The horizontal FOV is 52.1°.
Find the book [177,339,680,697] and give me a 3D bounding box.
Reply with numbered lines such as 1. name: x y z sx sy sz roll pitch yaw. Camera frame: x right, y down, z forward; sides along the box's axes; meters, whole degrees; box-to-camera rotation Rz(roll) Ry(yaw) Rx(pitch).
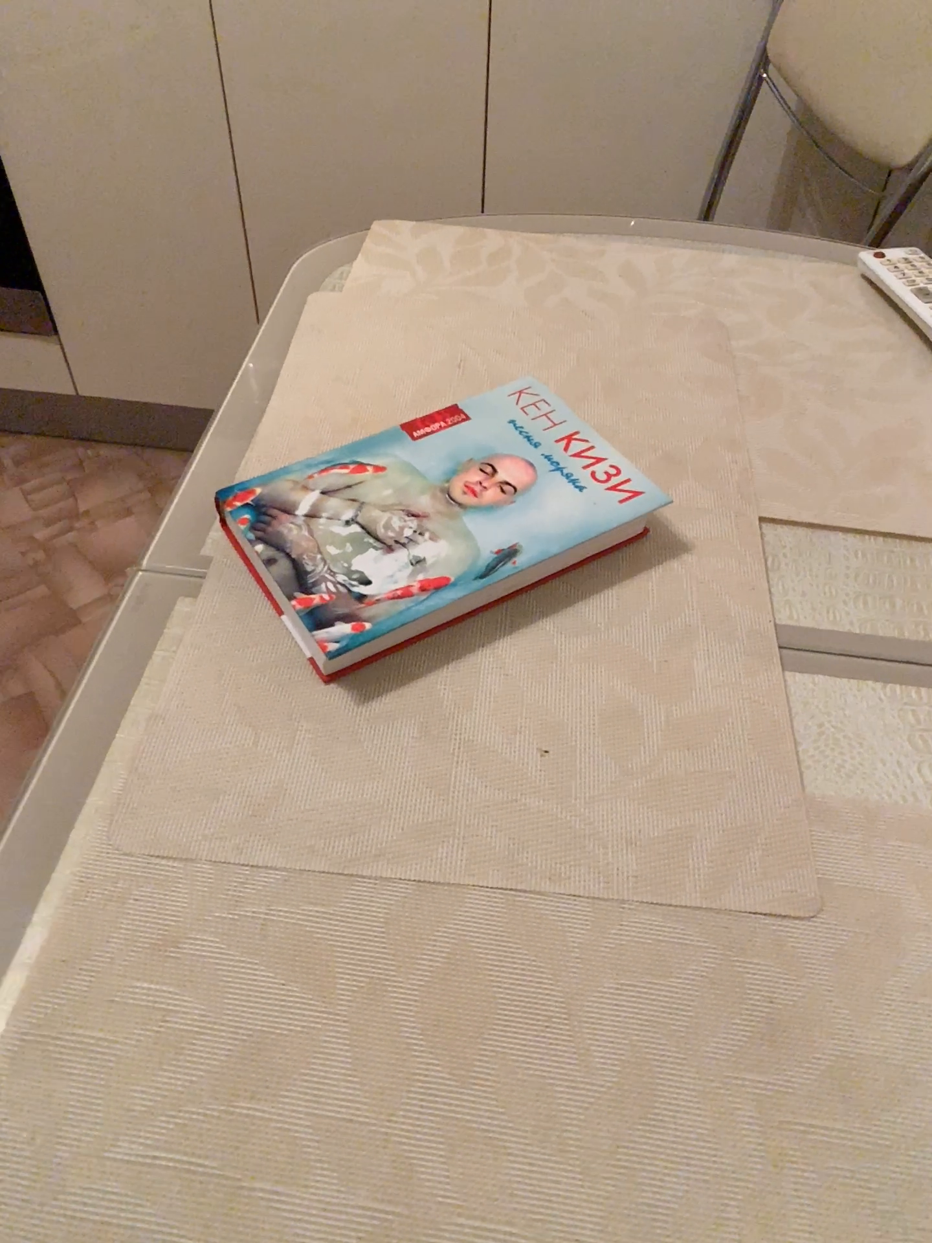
1. book: -0.021 -0.067 0.503 0.210 0.040 0.151 -24 53 -21
